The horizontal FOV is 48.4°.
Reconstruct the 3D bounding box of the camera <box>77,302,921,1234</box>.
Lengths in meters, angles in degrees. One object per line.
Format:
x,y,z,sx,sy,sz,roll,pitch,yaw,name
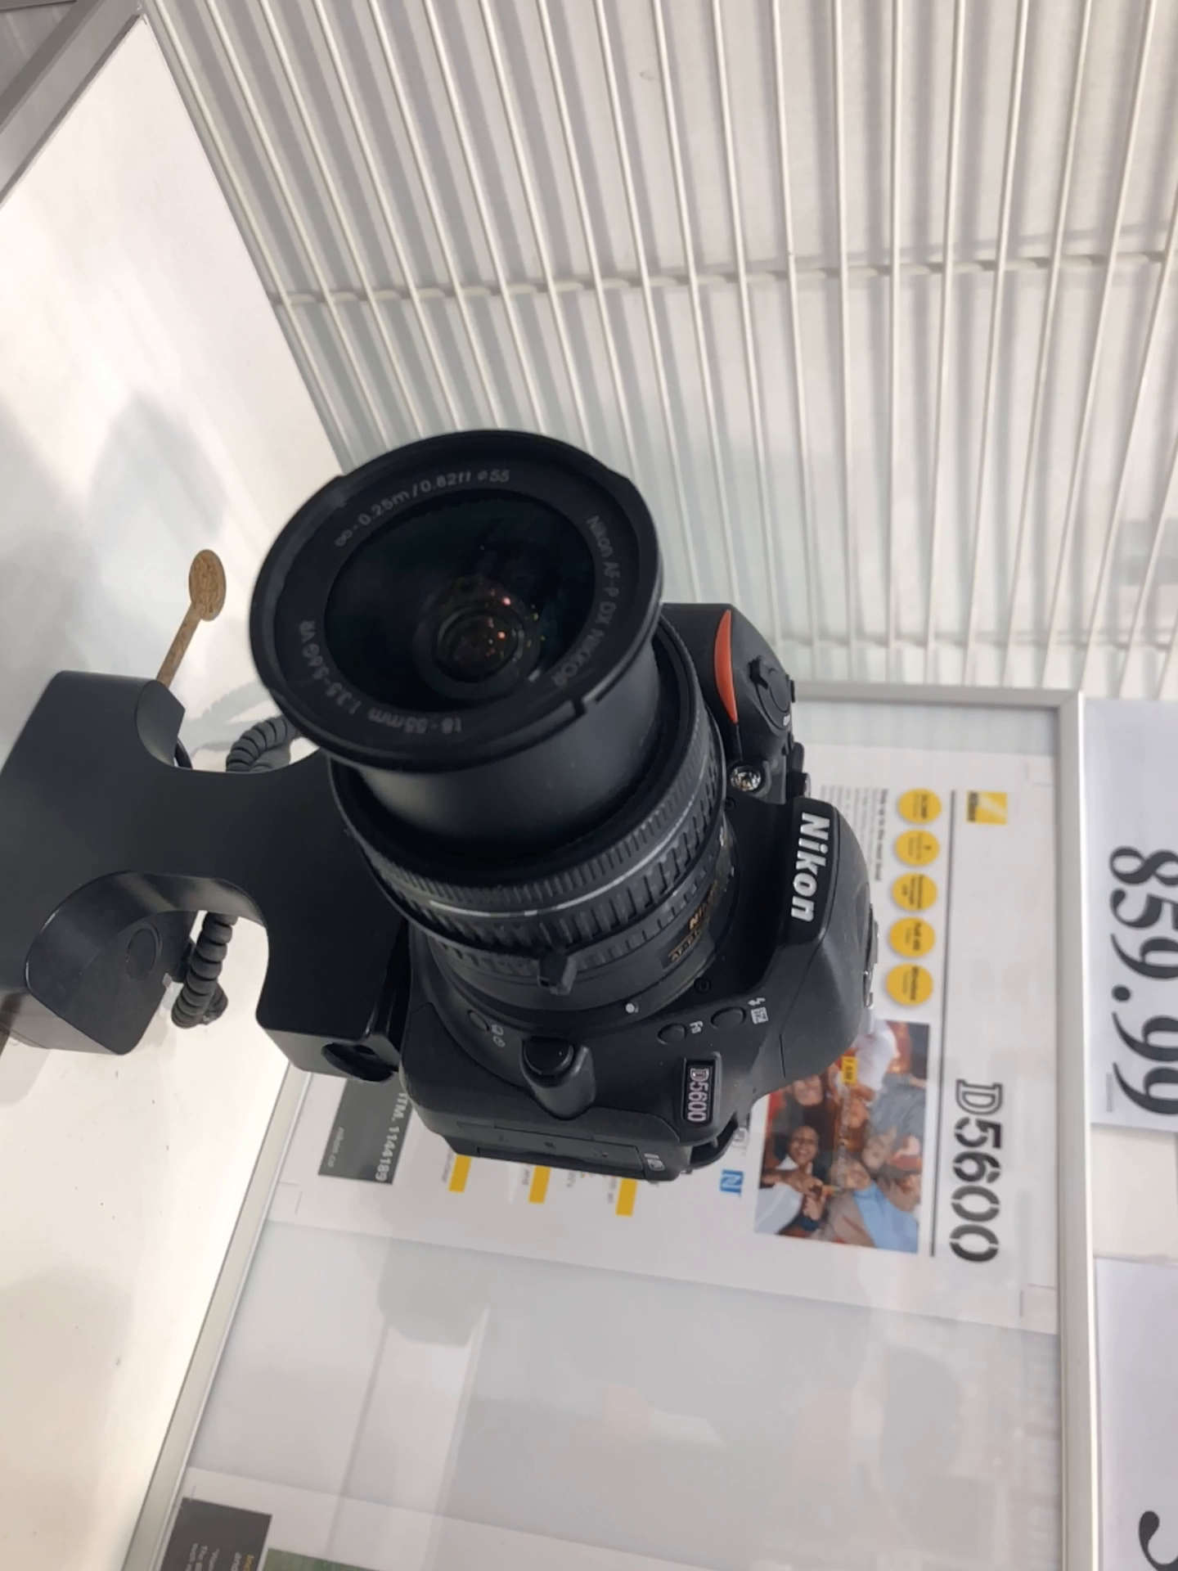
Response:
0.006,0.009,0.267,0.160,0.110,0.120,69,27,-60,camera
